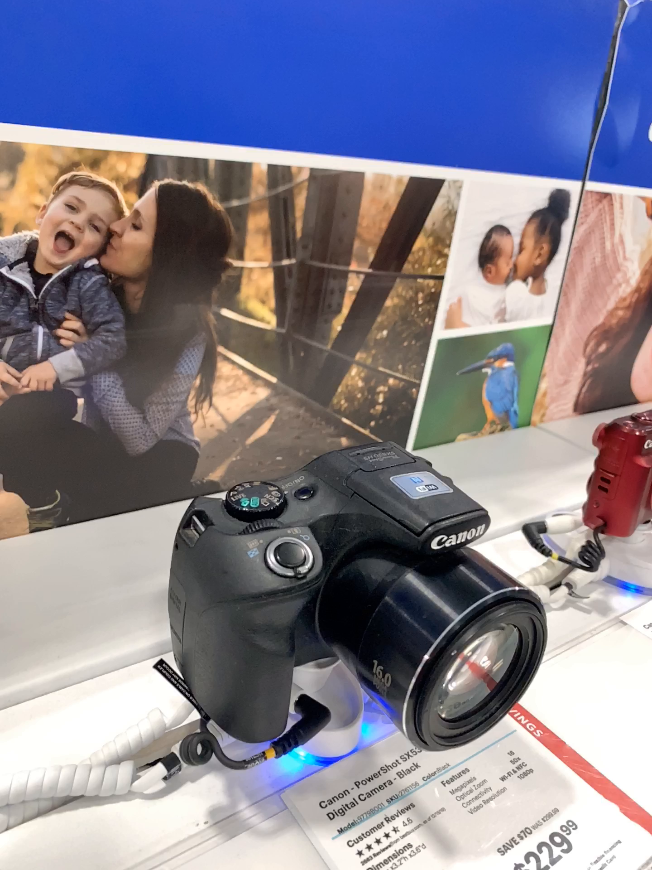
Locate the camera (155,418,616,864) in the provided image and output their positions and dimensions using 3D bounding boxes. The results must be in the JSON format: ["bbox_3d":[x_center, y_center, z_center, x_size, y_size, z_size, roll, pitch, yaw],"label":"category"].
[{"bbox_3d":[0.018,0.054,0.238,0.124,0.080,0.090,-10,26,-37],"label":"camera"}]
